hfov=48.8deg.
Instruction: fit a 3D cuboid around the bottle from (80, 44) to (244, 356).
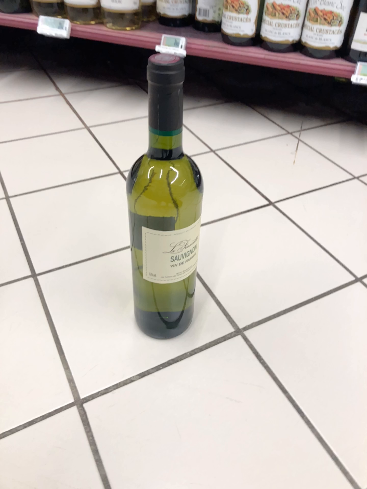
[{"bbox_3d":[-0.023,-0.026,0.401,0.090,0.288,0.090,2,41,-2],"label":"bottle"}]
